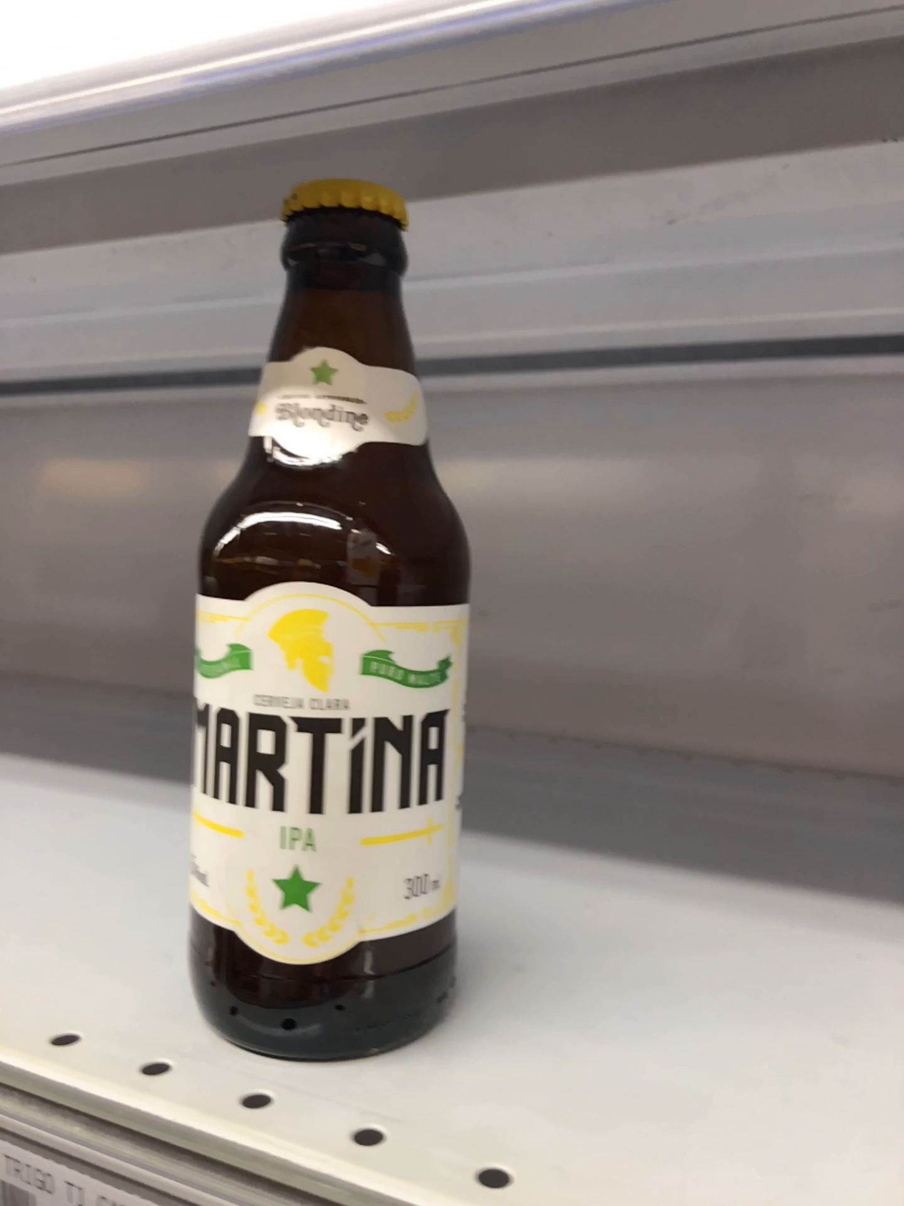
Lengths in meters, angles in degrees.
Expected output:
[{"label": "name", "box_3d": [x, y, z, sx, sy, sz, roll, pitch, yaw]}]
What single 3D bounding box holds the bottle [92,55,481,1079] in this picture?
[{"label": "bottle", "box_3d": [-0.031, -0.007, 0.220, 0.070, 0.190, 0.060, 1, 3, 2]}]
